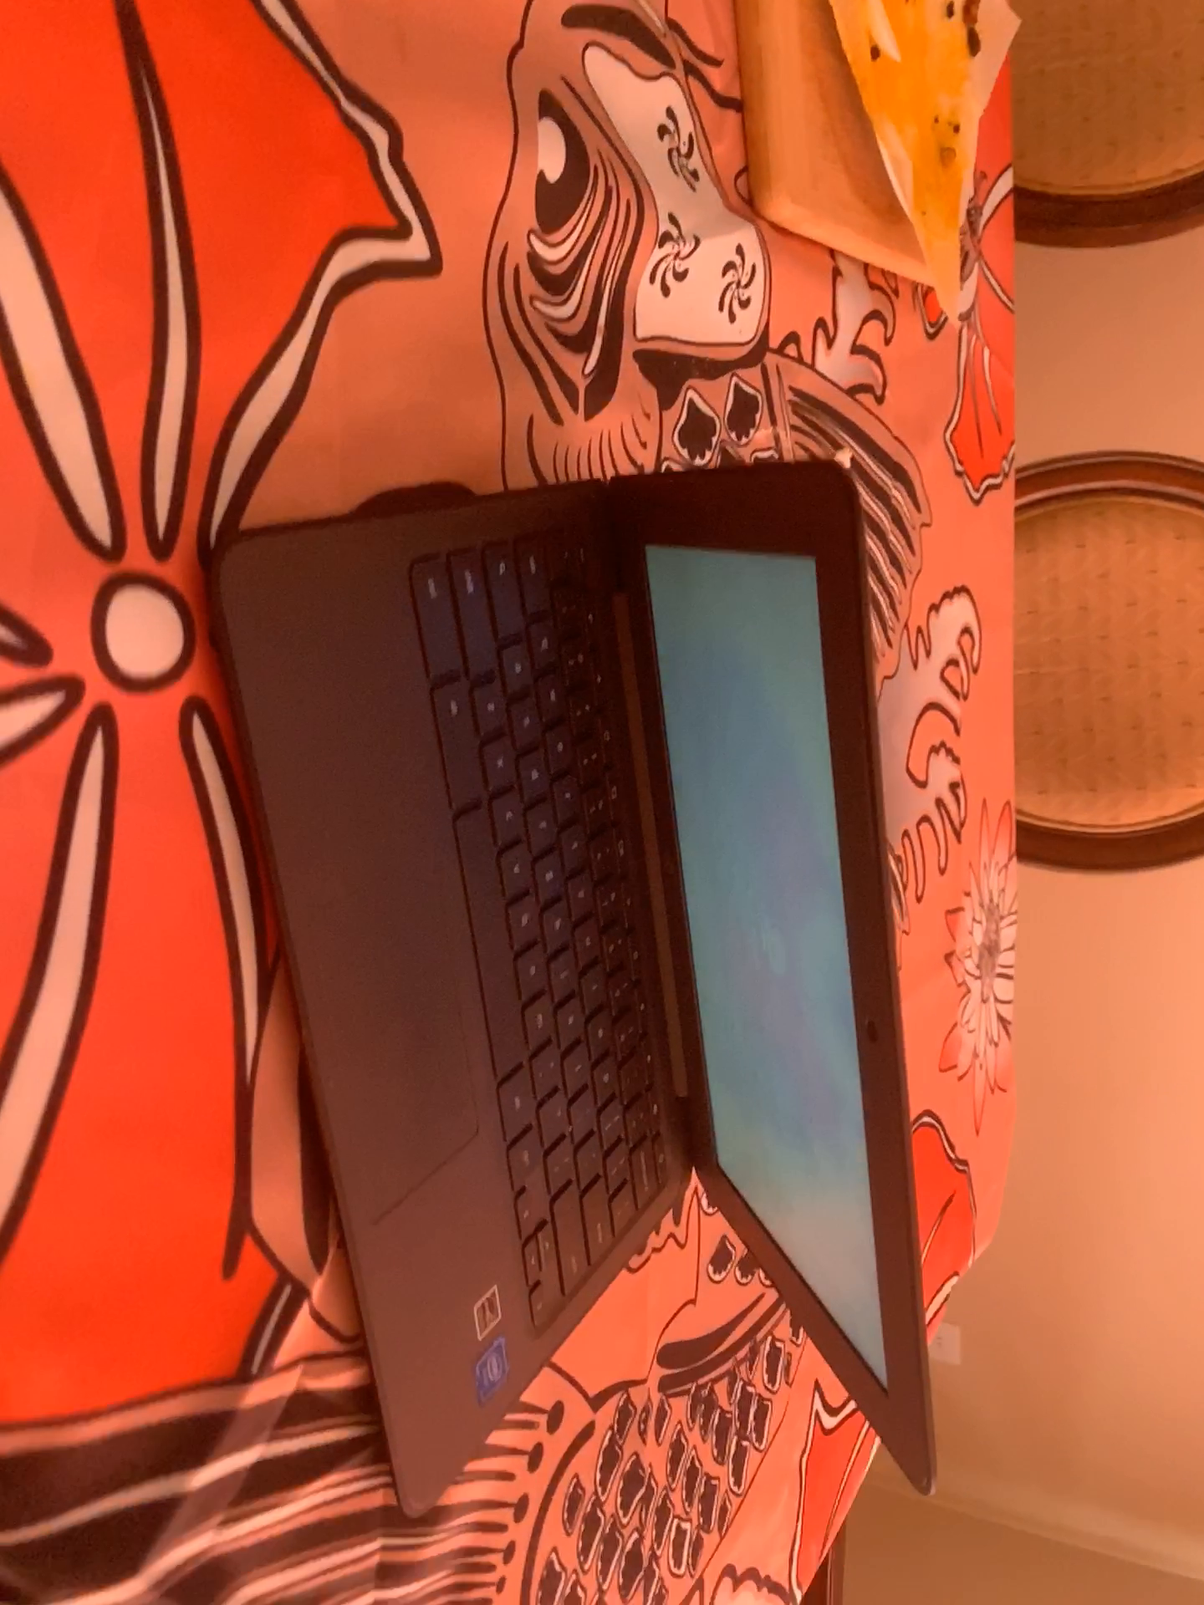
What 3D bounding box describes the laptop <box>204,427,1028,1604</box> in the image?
[{"bbox_3d":[0.036,0.049,0.392,0.212,0.144,0.299,-32,118,-56],"label":"laptop"}]
